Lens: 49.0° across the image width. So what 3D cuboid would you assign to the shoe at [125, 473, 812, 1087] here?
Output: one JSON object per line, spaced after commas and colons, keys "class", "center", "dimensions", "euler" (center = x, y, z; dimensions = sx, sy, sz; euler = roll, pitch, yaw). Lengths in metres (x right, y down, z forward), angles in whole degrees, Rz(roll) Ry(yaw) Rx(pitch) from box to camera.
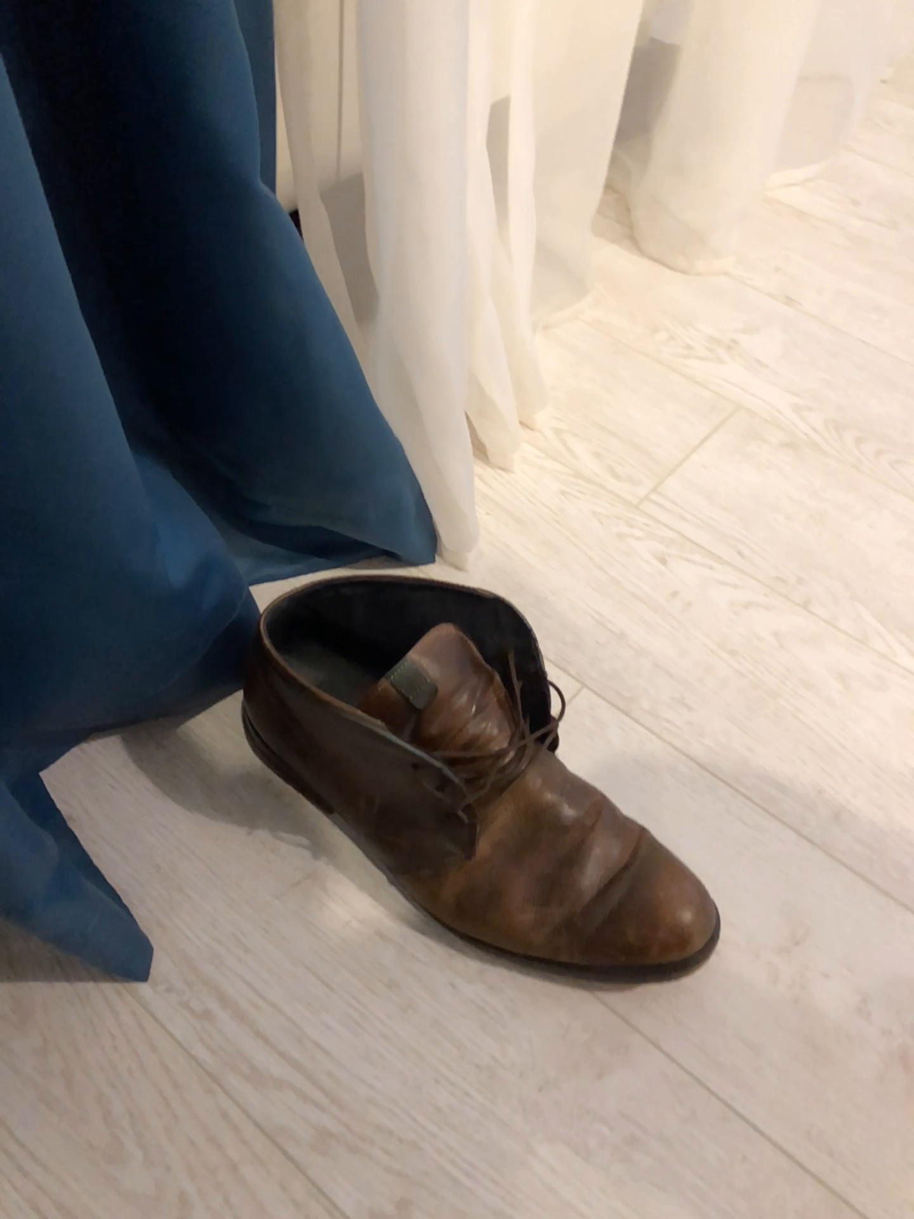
{"class": "shoe", "center": [-0.004, 0.087, 0.555], "dimensions": [0.320, 0.159, 0.131], "euler": [30, 56, 19]}
